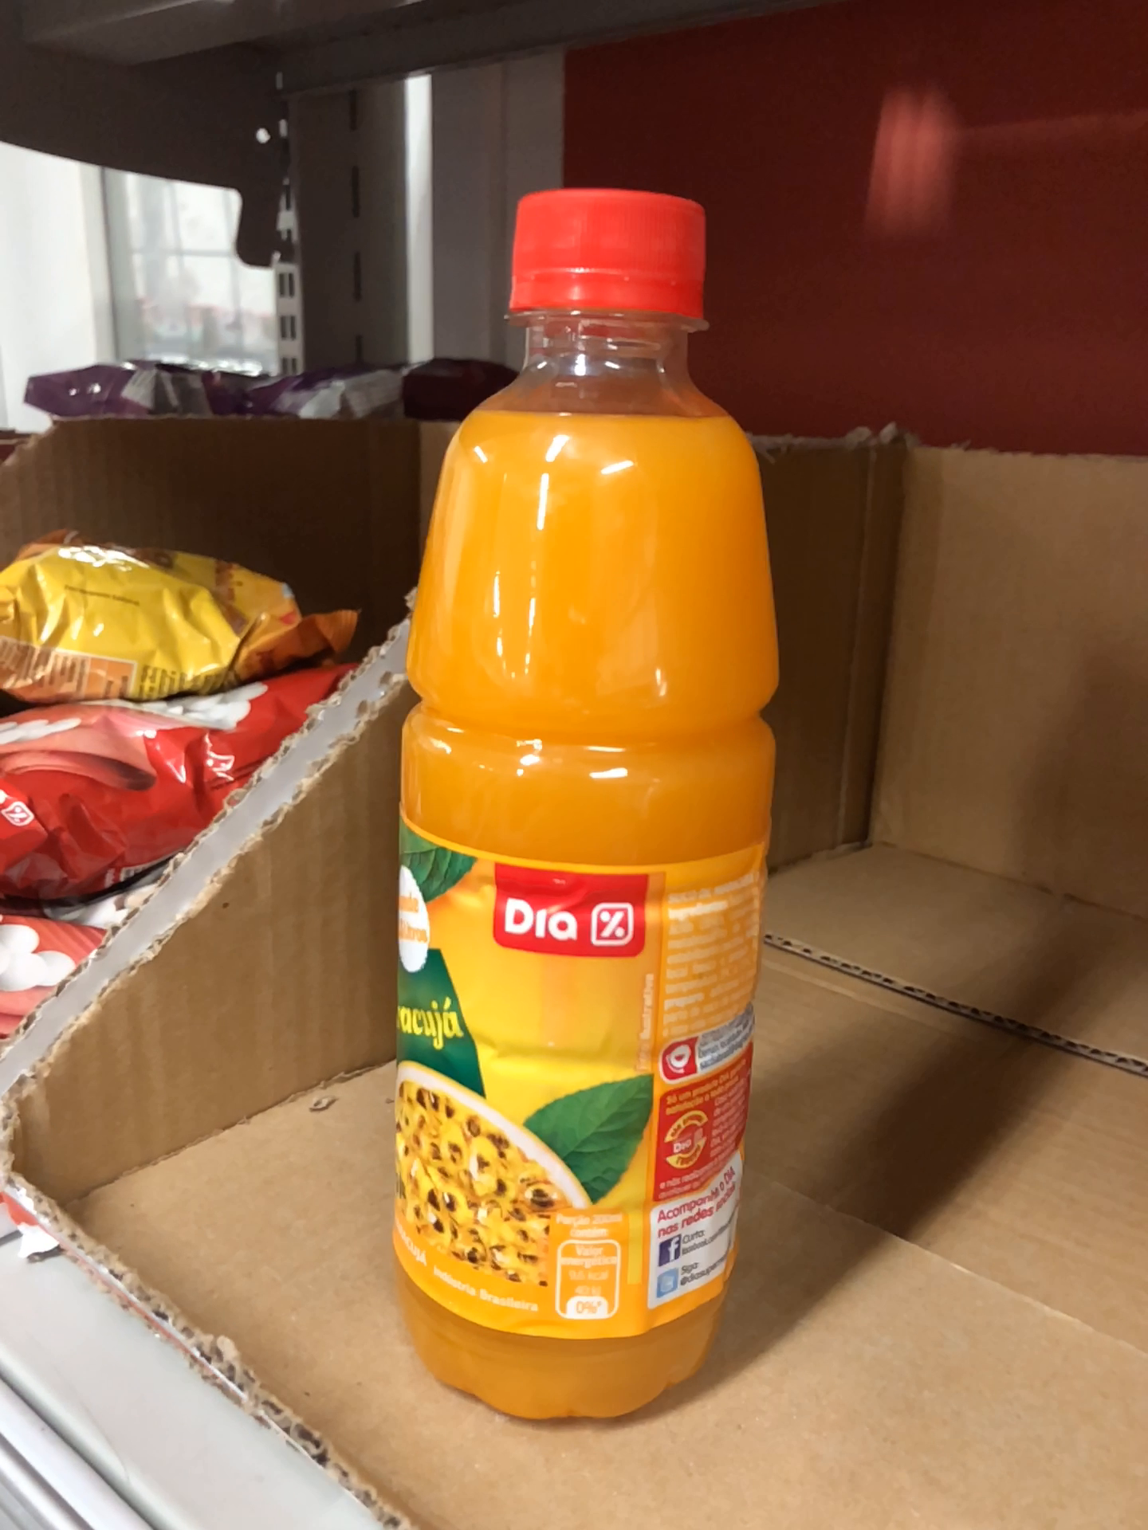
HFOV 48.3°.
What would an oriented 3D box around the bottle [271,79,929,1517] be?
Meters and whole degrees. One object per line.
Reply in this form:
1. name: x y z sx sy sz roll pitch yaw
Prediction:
1. bottle: 0.000 0.005 0.217 0.070 0.199 0.070 1 15 0
